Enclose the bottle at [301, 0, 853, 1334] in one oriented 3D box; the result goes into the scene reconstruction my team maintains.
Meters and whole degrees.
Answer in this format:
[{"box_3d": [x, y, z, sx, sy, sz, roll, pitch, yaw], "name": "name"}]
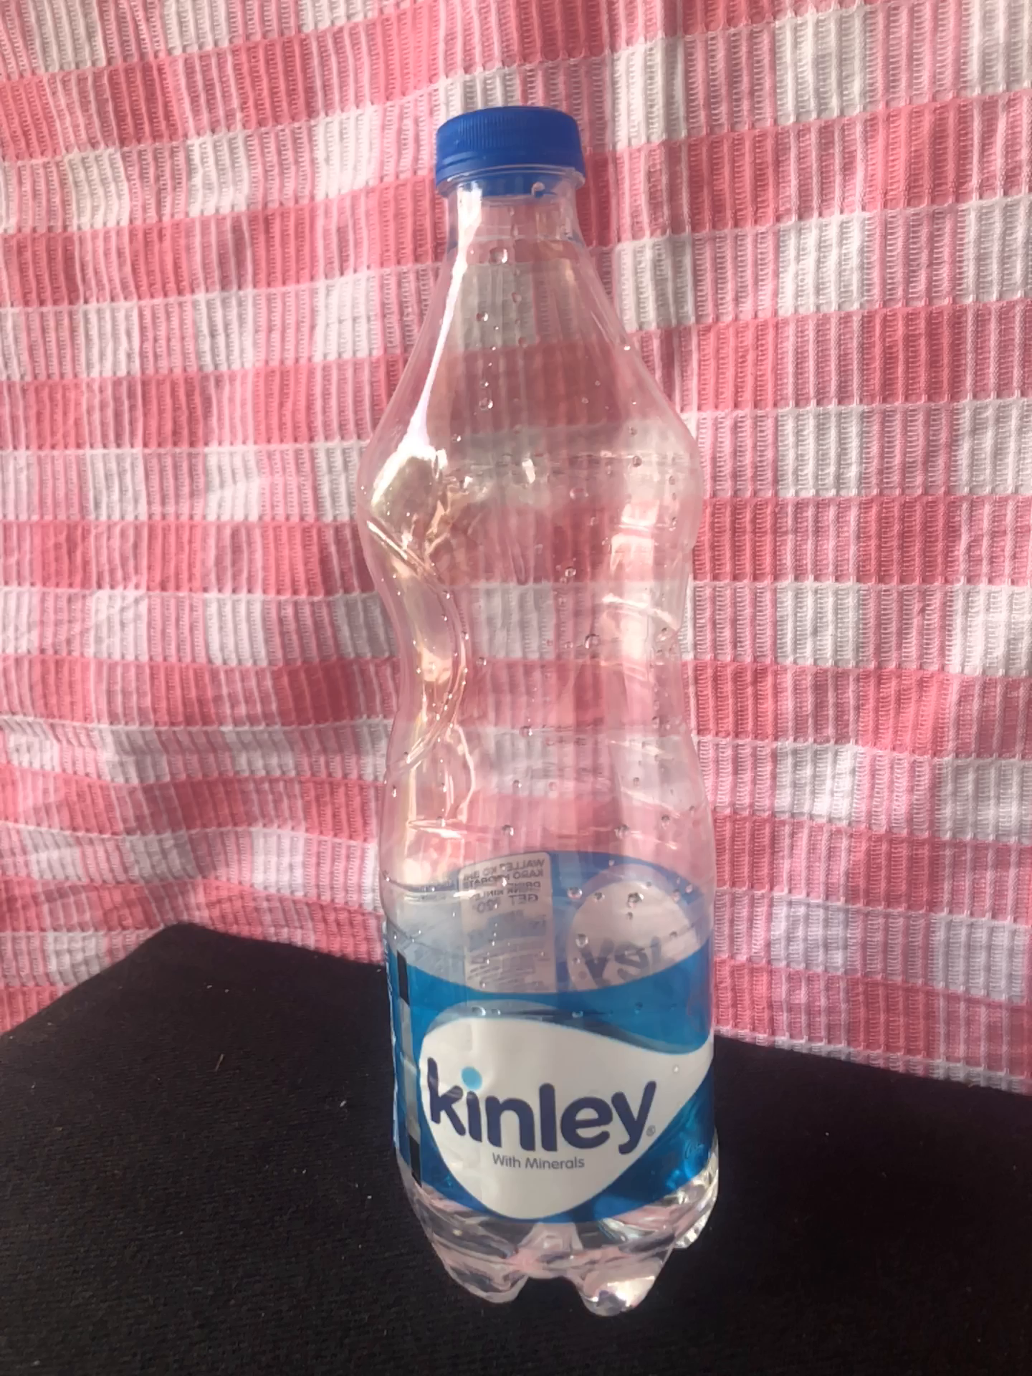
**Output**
[{"box_3d": [0.015, 0.004, 0.259, 0.090, 0.259, 0.080, 1, 15, 6], "name": "bottle"}]
